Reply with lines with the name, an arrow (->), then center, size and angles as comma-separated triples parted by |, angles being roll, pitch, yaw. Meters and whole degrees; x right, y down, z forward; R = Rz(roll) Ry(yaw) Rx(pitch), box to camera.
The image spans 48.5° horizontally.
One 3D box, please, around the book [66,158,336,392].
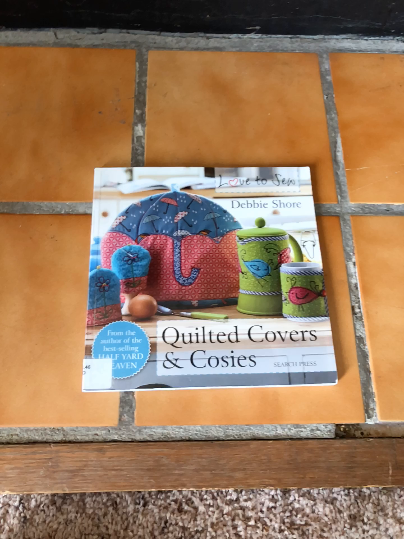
book -> -0.004, -0.004, 0.415 | 0.224, 0.015, 0.219 | -1, 70, -3
